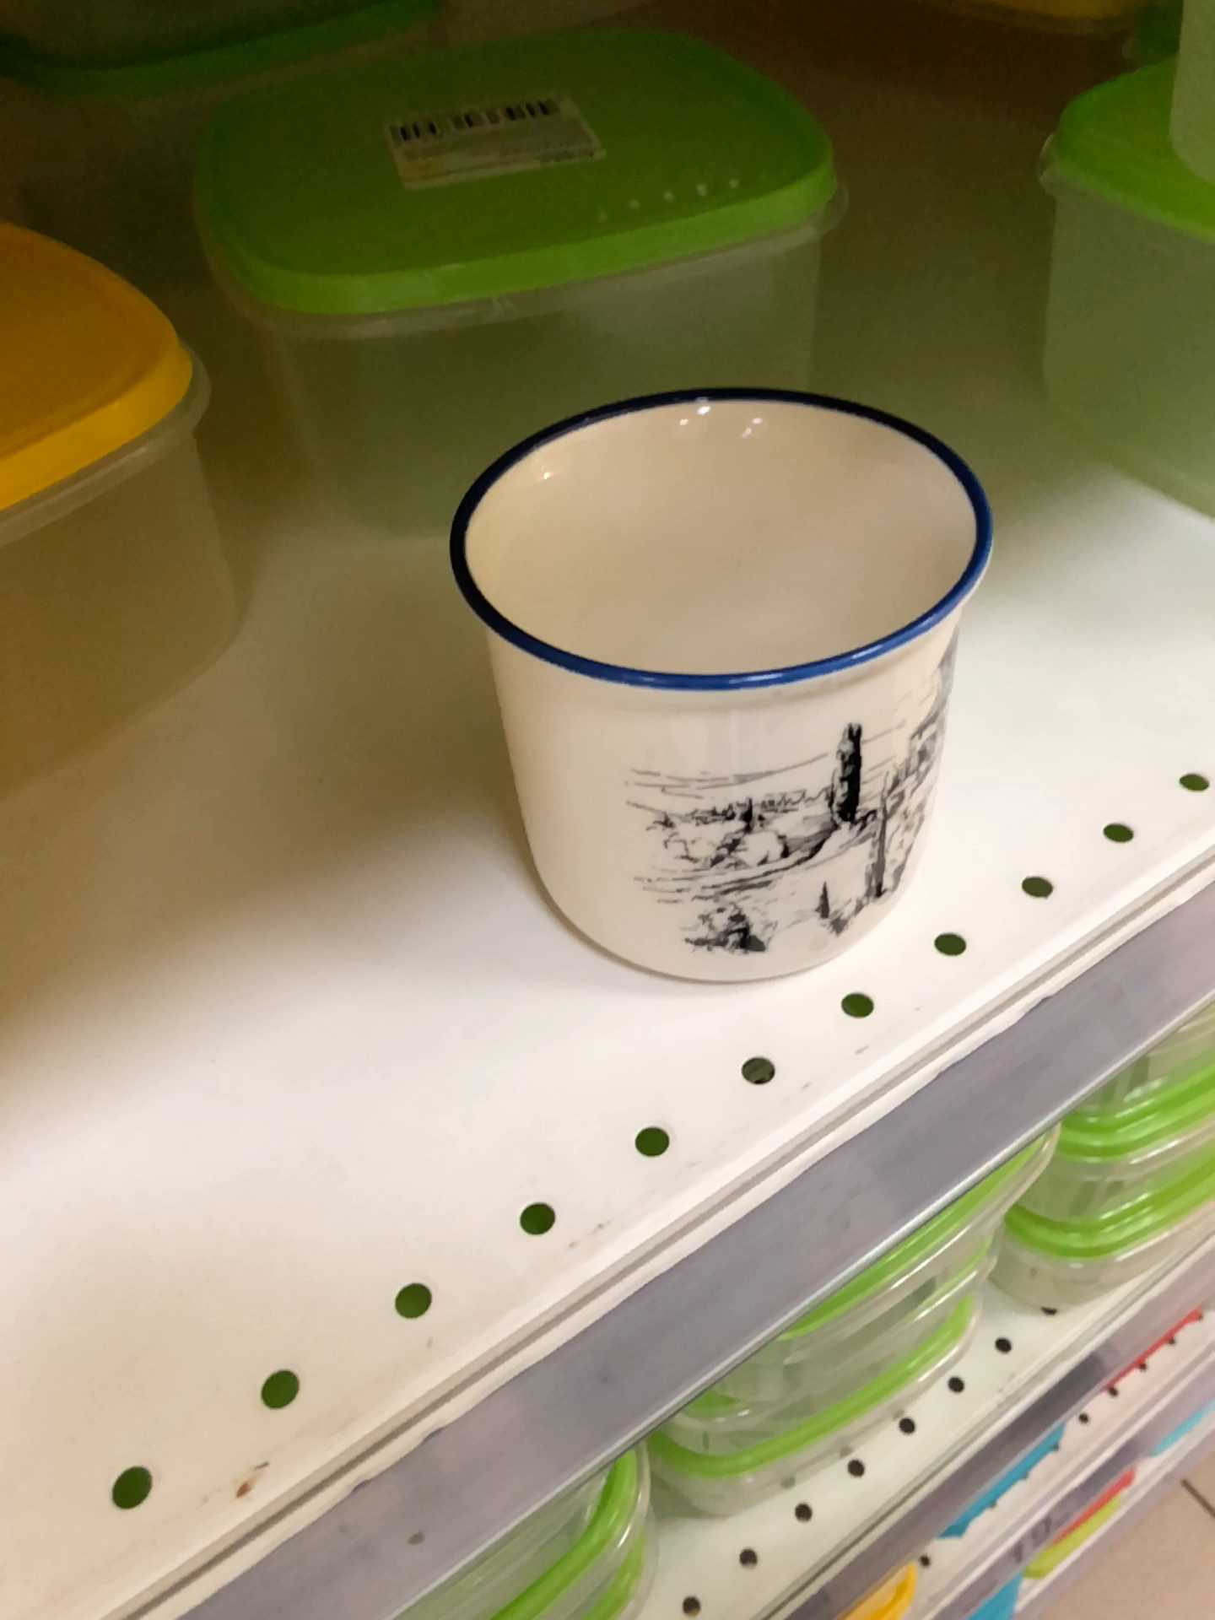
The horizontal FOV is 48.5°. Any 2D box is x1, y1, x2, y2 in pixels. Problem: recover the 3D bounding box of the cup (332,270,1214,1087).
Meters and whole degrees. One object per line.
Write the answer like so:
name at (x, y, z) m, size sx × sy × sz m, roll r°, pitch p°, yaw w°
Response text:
cup at (0.036, -0.036, 0.264) m, size 0.130 × 0.068 × 0.103 m, roll -36°, pitch 53°, yaw -27°
